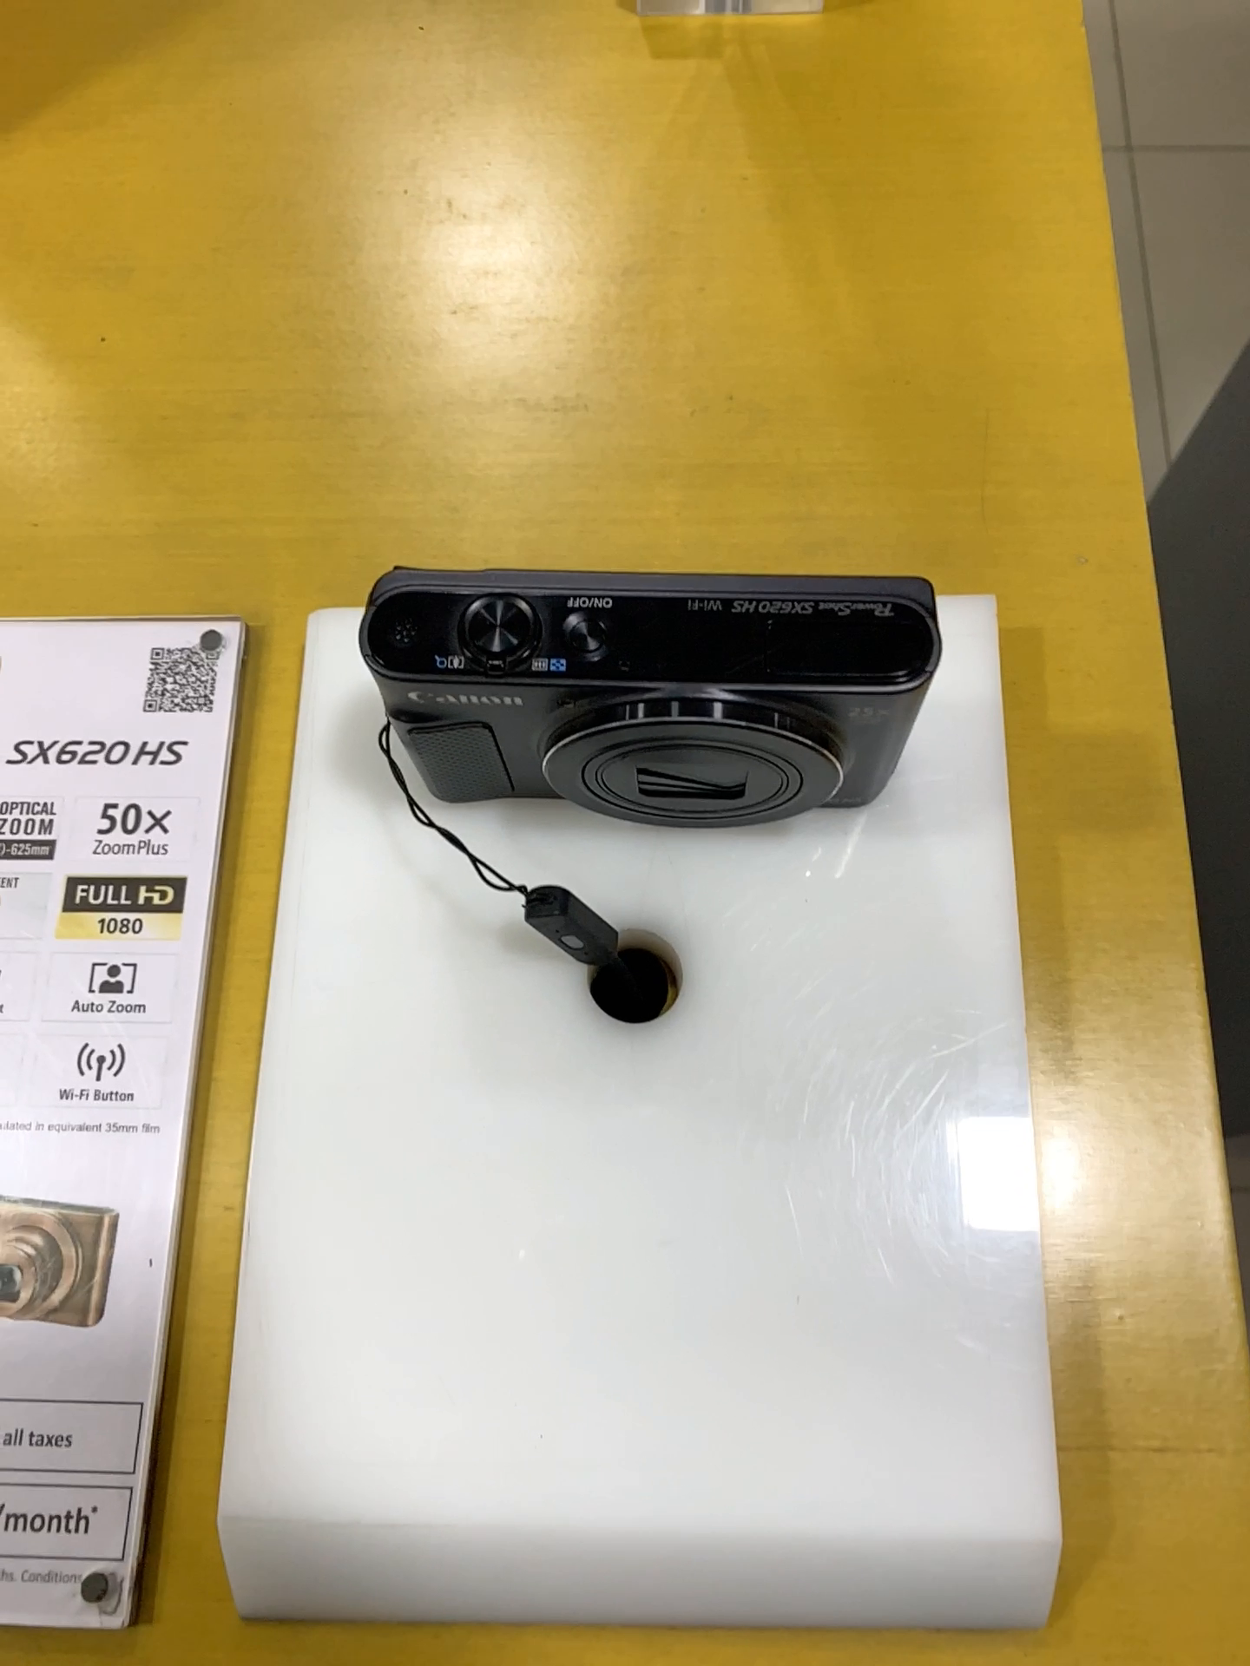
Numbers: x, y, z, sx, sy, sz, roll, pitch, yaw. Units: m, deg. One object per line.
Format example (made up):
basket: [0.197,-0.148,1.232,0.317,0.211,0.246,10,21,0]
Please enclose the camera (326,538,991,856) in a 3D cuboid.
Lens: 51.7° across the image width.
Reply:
camera: [0.006,-0.021,0.227,0.100,0.060,0.030,2,72,3]
